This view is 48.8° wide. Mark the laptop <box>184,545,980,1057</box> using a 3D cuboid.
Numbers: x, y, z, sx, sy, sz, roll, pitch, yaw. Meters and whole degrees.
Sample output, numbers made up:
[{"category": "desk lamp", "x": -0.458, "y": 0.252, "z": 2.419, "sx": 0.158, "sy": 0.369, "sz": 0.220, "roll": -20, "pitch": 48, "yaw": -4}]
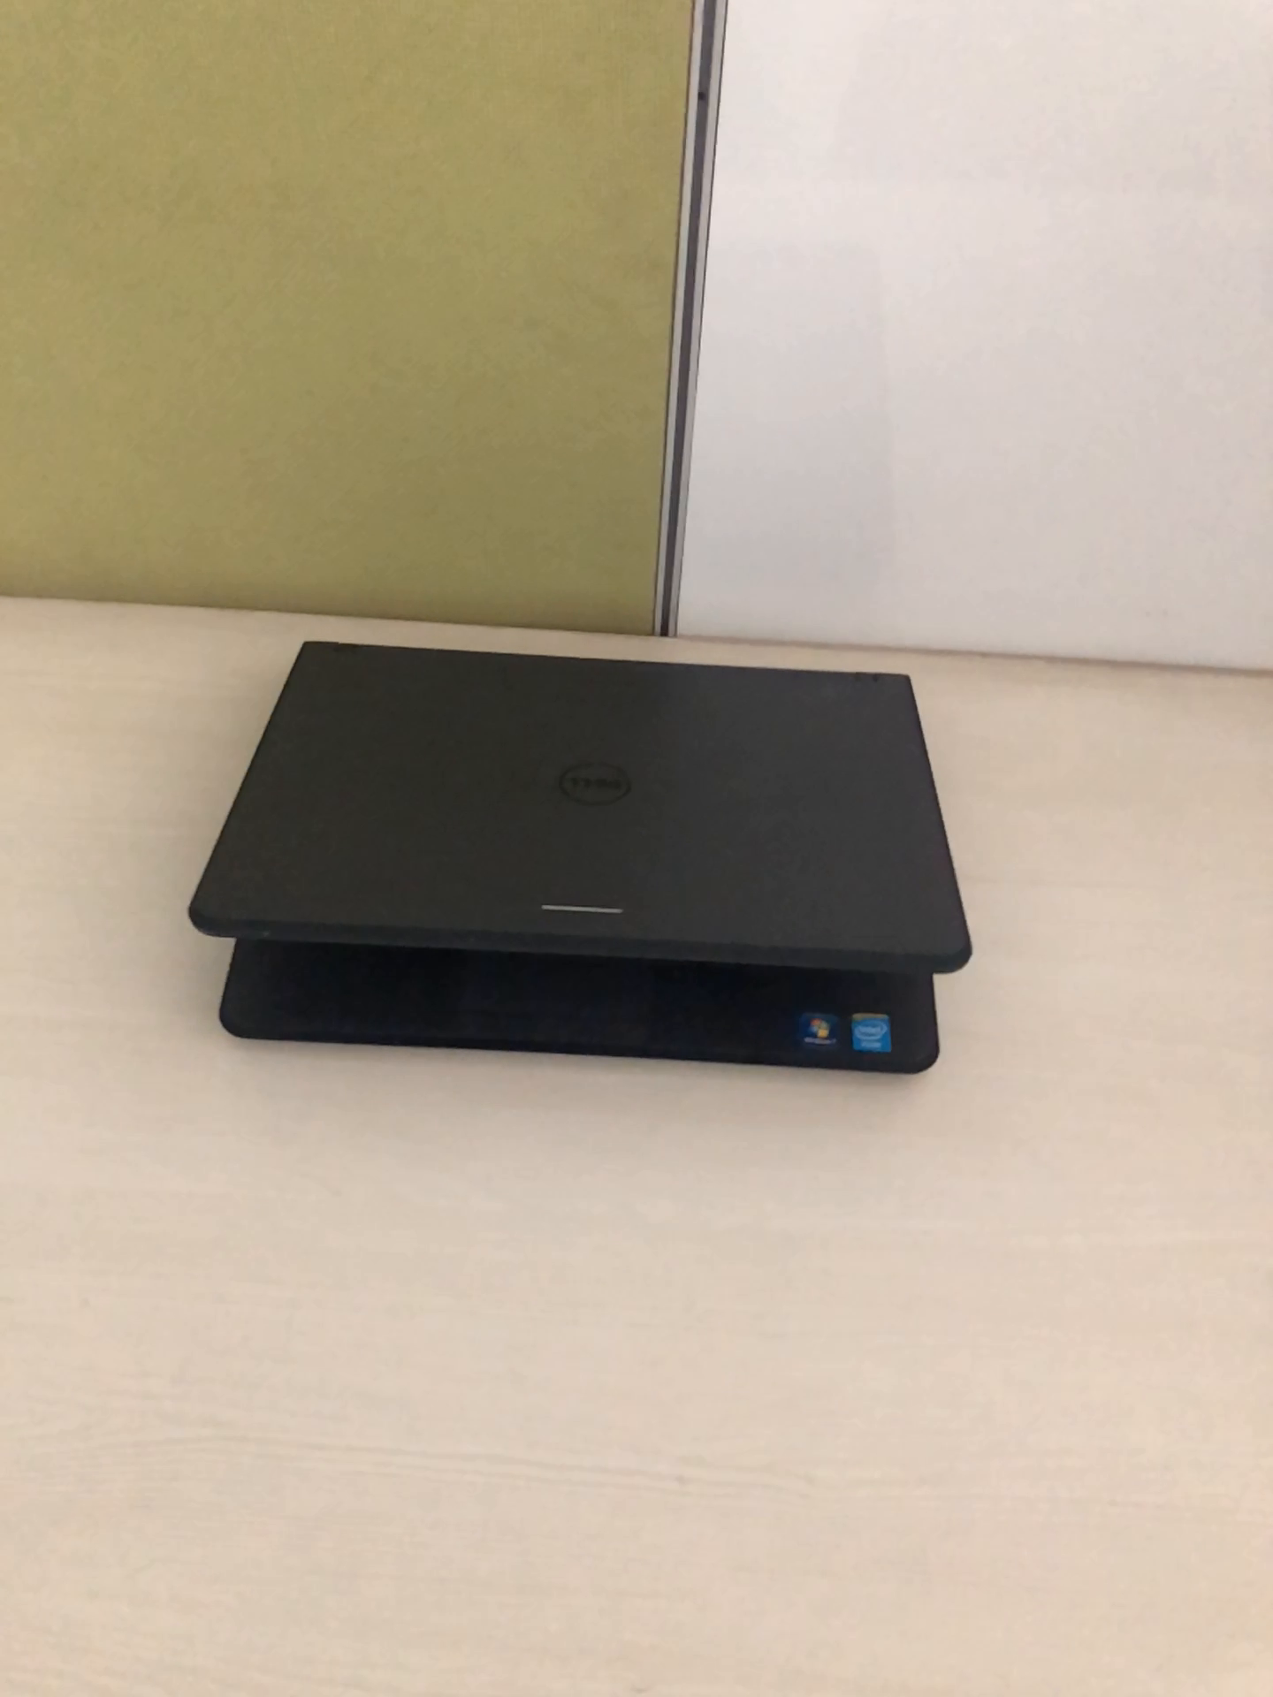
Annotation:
[{"category": "laptop", "x": -0.019, "y": -0.030, "z": 0.664, "sx": 0.322, "sy": 0.072, "sz": 0.230, "roll": 3, "pitch": 53, "yaw": 0}]
